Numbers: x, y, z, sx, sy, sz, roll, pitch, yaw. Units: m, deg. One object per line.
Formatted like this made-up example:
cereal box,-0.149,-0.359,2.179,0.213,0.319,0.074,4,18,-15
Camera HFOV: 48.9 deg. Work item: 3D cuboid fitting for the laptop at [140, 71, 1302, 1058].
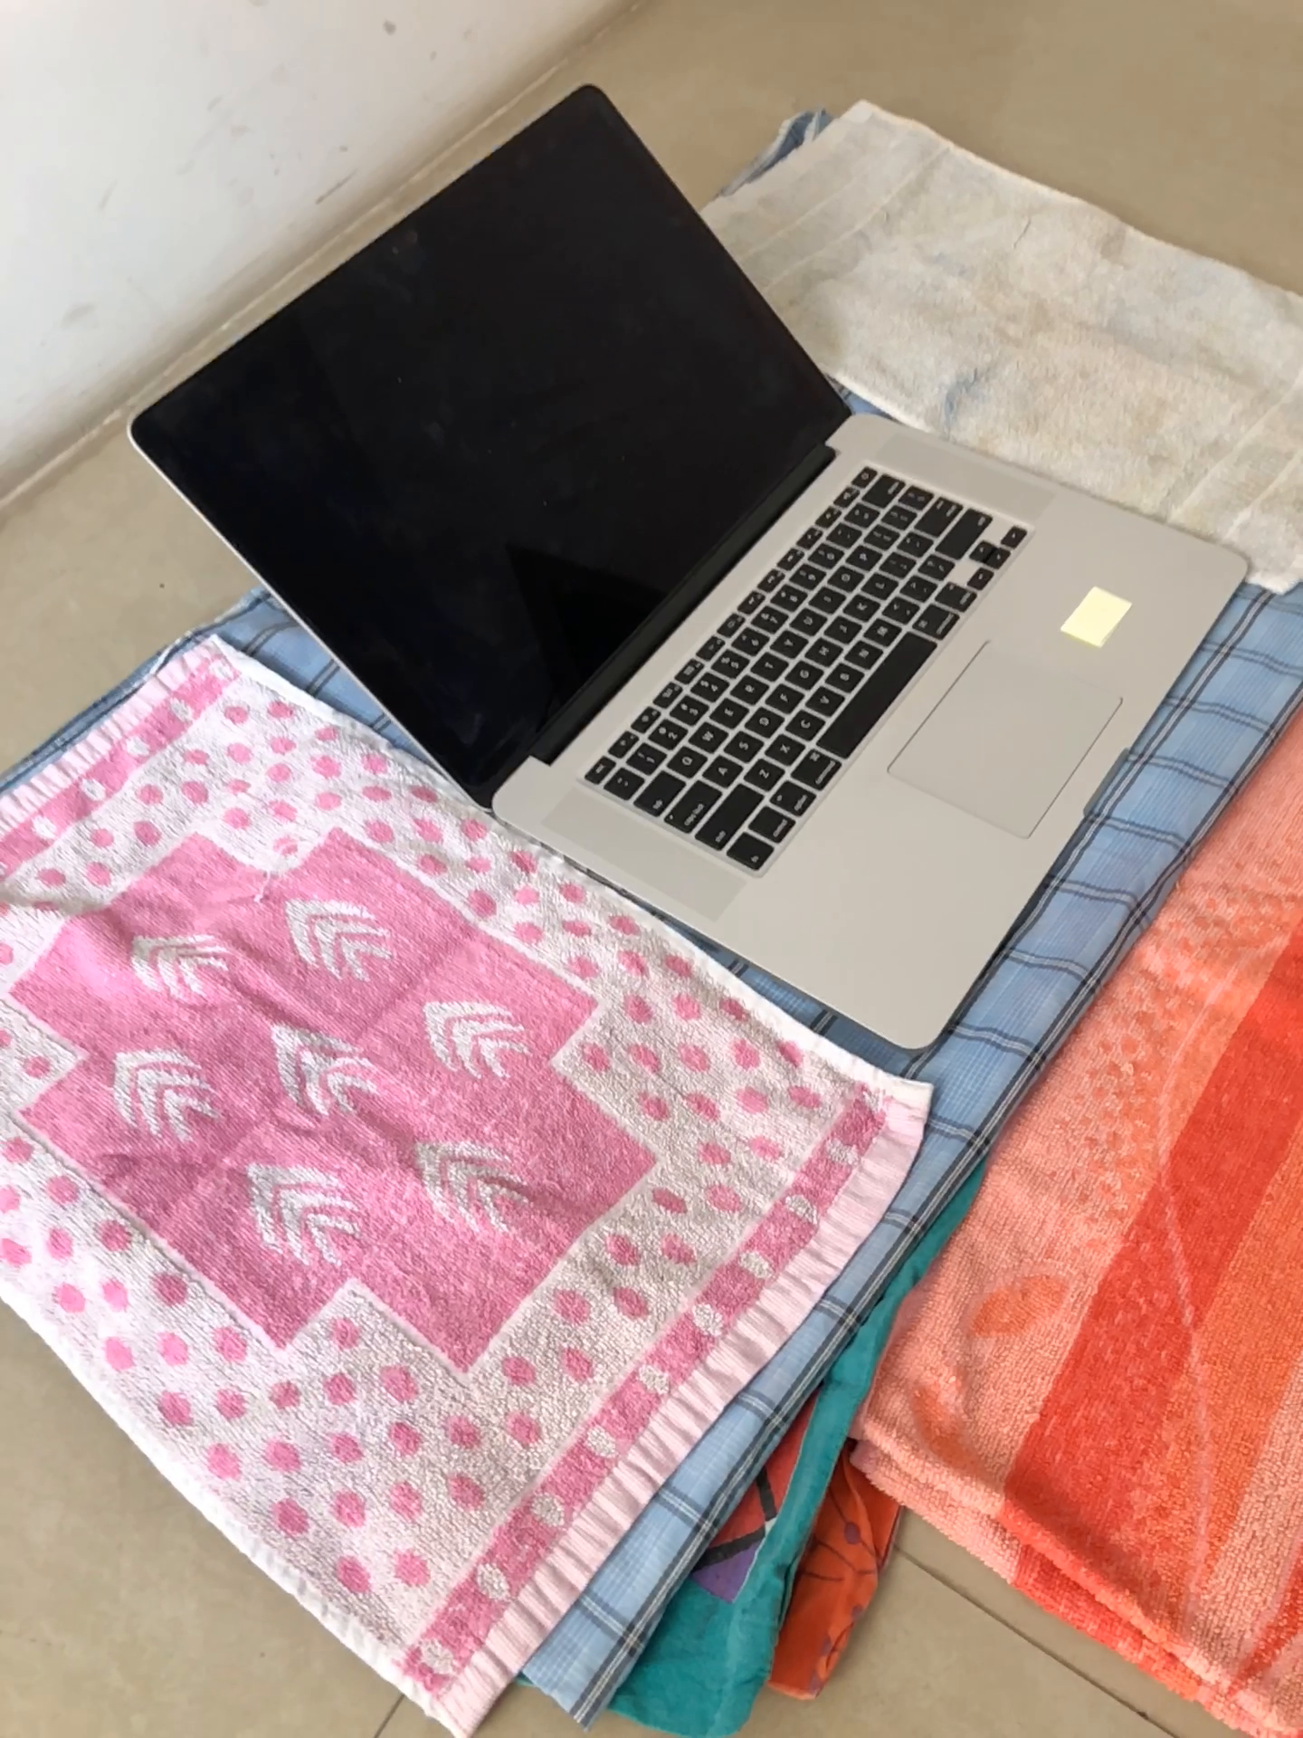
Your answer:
laptop,0.040,-0.177,0.694,0.413,0.144,0.344,30,64,21
